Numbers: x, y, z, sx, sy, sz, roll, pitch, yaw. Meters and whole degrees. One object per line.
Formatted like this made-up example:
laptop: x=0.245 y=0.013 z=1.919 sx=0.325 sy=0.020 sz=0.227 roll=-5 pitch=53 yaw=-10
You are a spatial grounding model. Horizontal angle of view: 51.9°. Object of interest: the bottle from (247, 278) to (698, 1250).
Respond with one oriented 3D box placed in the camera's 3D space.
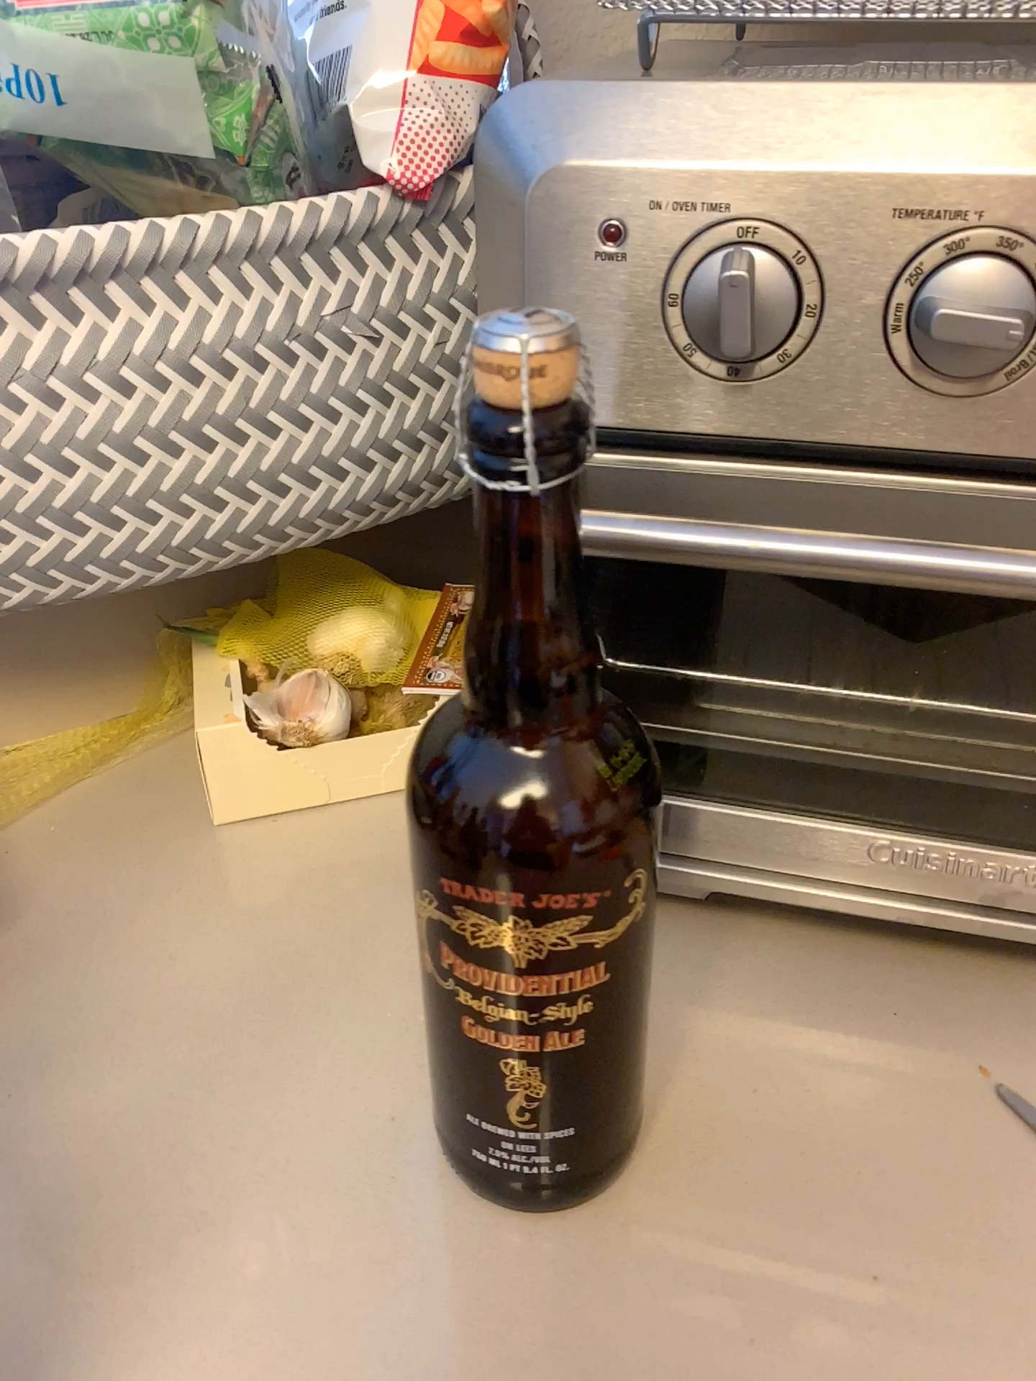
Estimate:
bottle: x=-0.002 y=0.041 z=0.324 sx=0.090 sy=0.298 sz=0.080 roll=4 pitch=33 yaw=8
